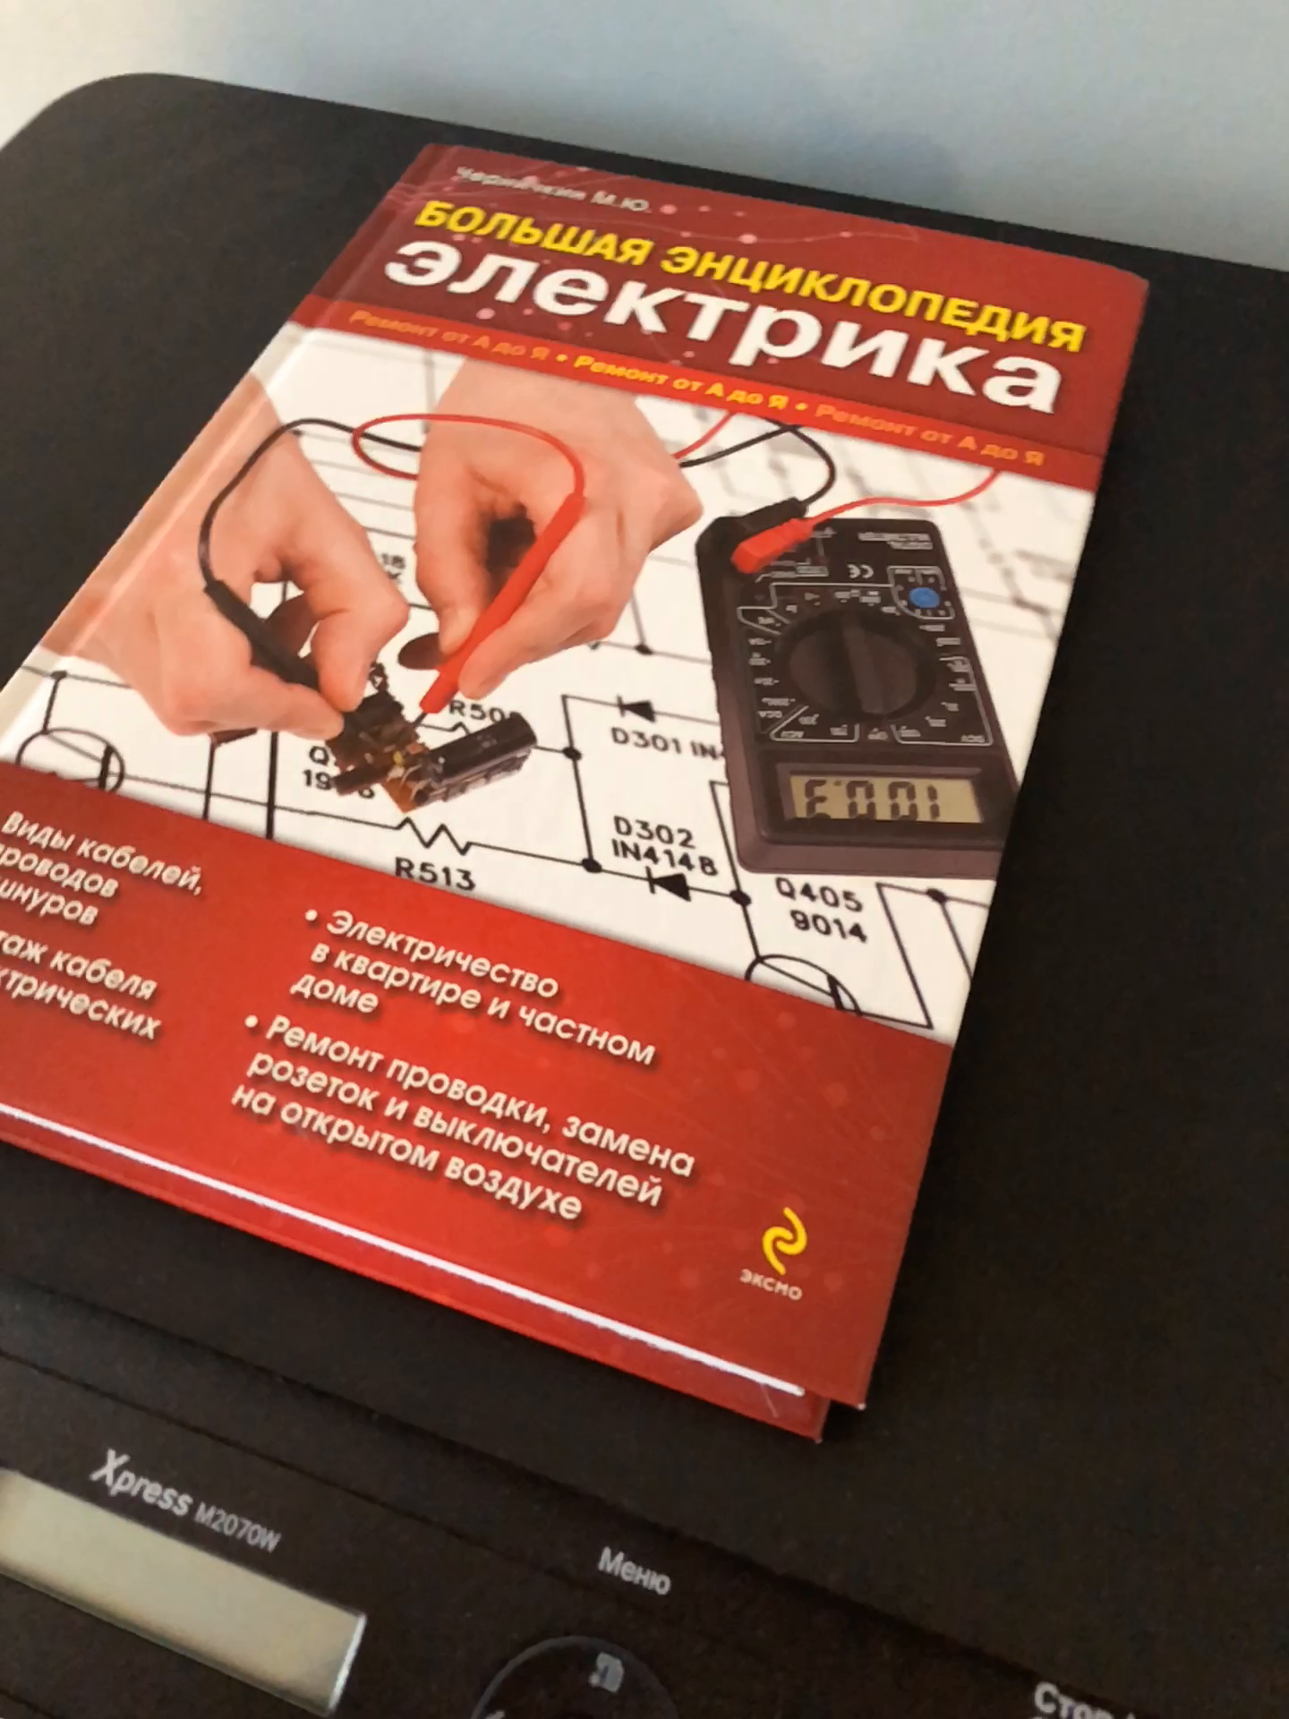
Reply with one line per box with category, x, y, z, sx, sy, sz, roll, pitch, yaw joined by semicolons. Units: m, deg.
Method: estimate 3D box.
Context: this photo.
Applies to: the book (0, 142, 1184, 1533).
book;-0.010;-0.035;0.263;0.170;0.040;0.241;16;58;12
